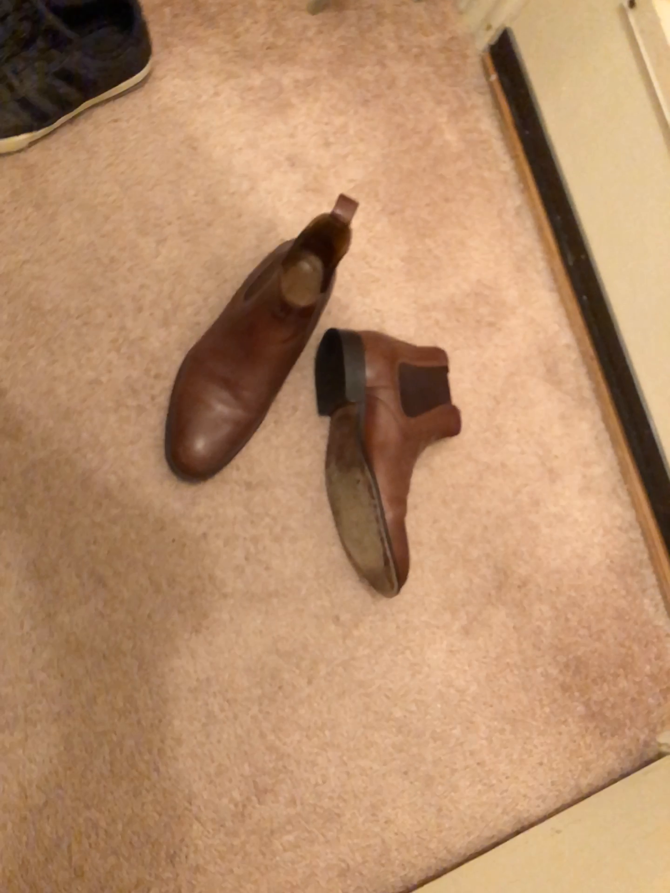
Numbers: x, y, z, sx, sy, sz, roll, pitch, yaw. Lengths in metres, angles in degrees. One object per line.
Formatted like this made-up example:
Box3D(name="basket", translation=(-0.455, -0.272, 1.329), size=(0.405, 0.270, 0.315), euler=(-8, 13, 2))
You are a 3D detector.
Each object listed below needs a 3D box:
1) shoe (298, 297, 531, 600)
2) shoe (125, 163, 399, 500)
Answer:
Box3D(name="shoe", translation=(0.081, 0.002, 0.817), size=(0.169, 0.119, 0.296), euler=(-8, 83, -21))
Box3D(name="shoe", translation=(-0.077, -0.109, 0.751), size=(0.109, 0.159, 0.297), euler=(34, 71, -10))
